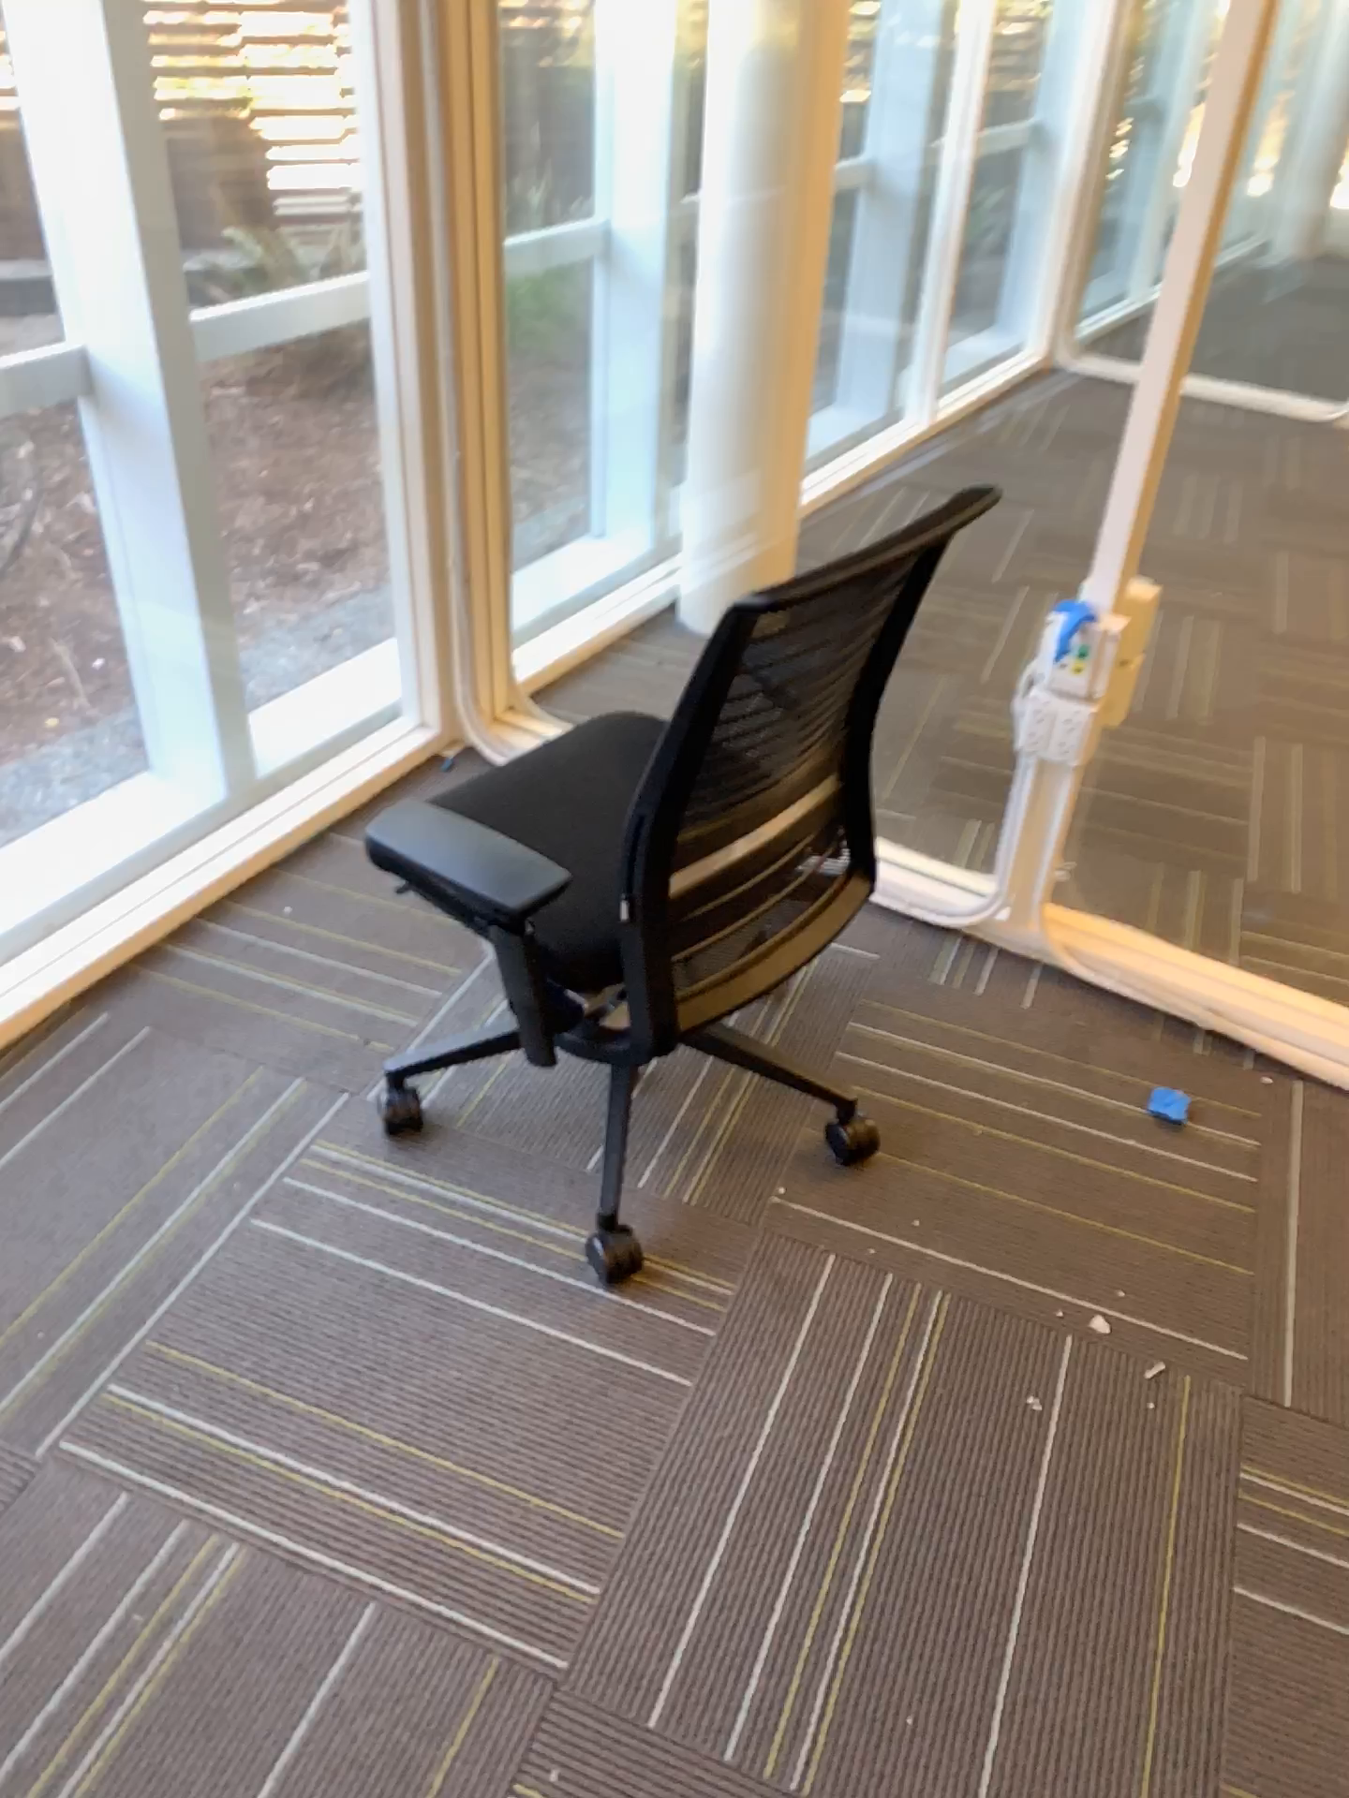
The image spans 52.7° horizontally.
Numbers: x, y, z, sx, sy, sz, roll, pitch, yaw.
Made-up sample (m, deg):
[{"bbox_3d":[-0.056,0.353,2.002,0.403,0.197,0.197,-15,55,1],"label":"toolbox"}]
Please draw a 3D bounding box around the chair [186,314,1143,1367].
[{"bbox_3d":[-0.021,-0.132,1.691,0.733,0.894,0.702,28,42,30],"label":"chair"}]
